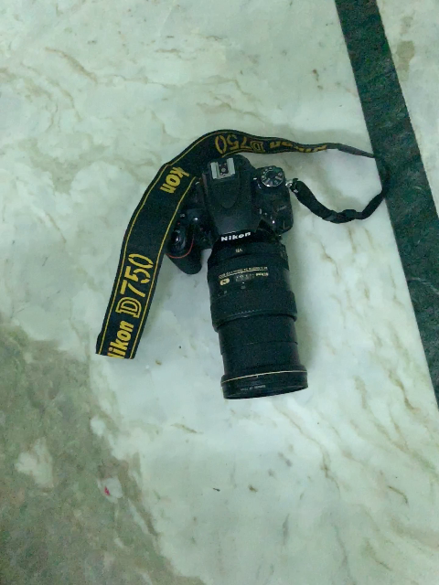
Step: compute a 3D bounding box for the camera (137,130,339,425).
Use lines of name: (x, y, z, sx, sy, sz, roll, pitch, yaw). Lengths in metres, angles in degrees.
camera: (0.016, -0.006, 0.417, 0.139, 0.100, 0.233, -10, 72, 10)
